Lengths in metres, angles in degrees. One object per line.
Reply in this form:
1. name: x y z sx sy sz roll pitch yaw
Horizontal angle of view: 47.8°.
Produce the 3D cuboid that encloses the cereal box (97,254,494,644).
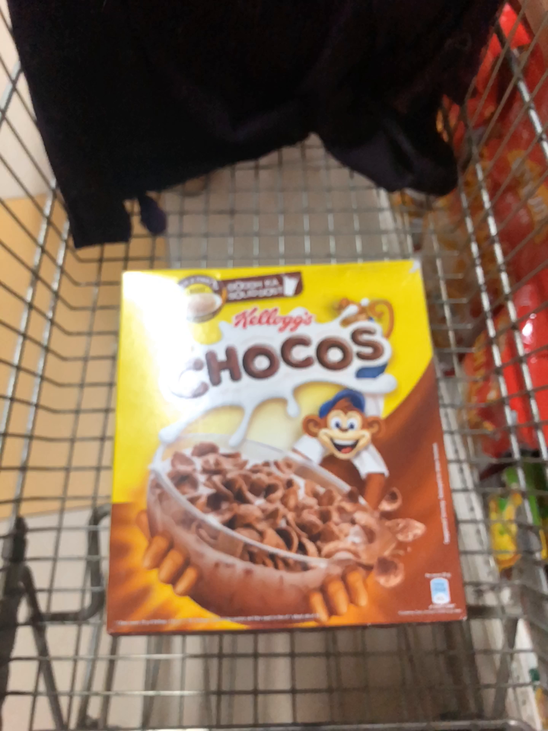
1. cereal box: 0.007 0.043 0.343 0.180 0.070 0.190 -2 71 1
